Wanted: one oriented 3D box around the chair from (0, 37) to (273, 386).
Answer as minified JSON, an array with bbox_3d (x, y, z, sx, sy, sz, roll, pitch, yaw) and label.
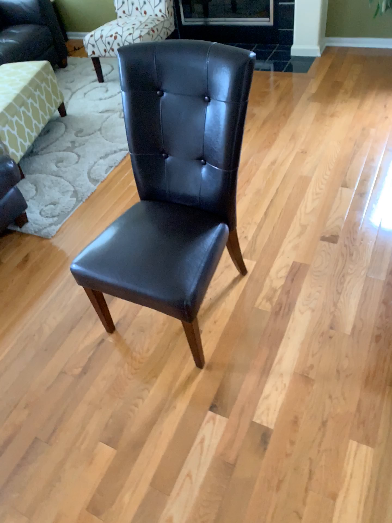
[{"bbox_3d":[-0.093,-0.165,1.510,0.538,0.977,0.726,16,53,24],"label":"chair"}]
